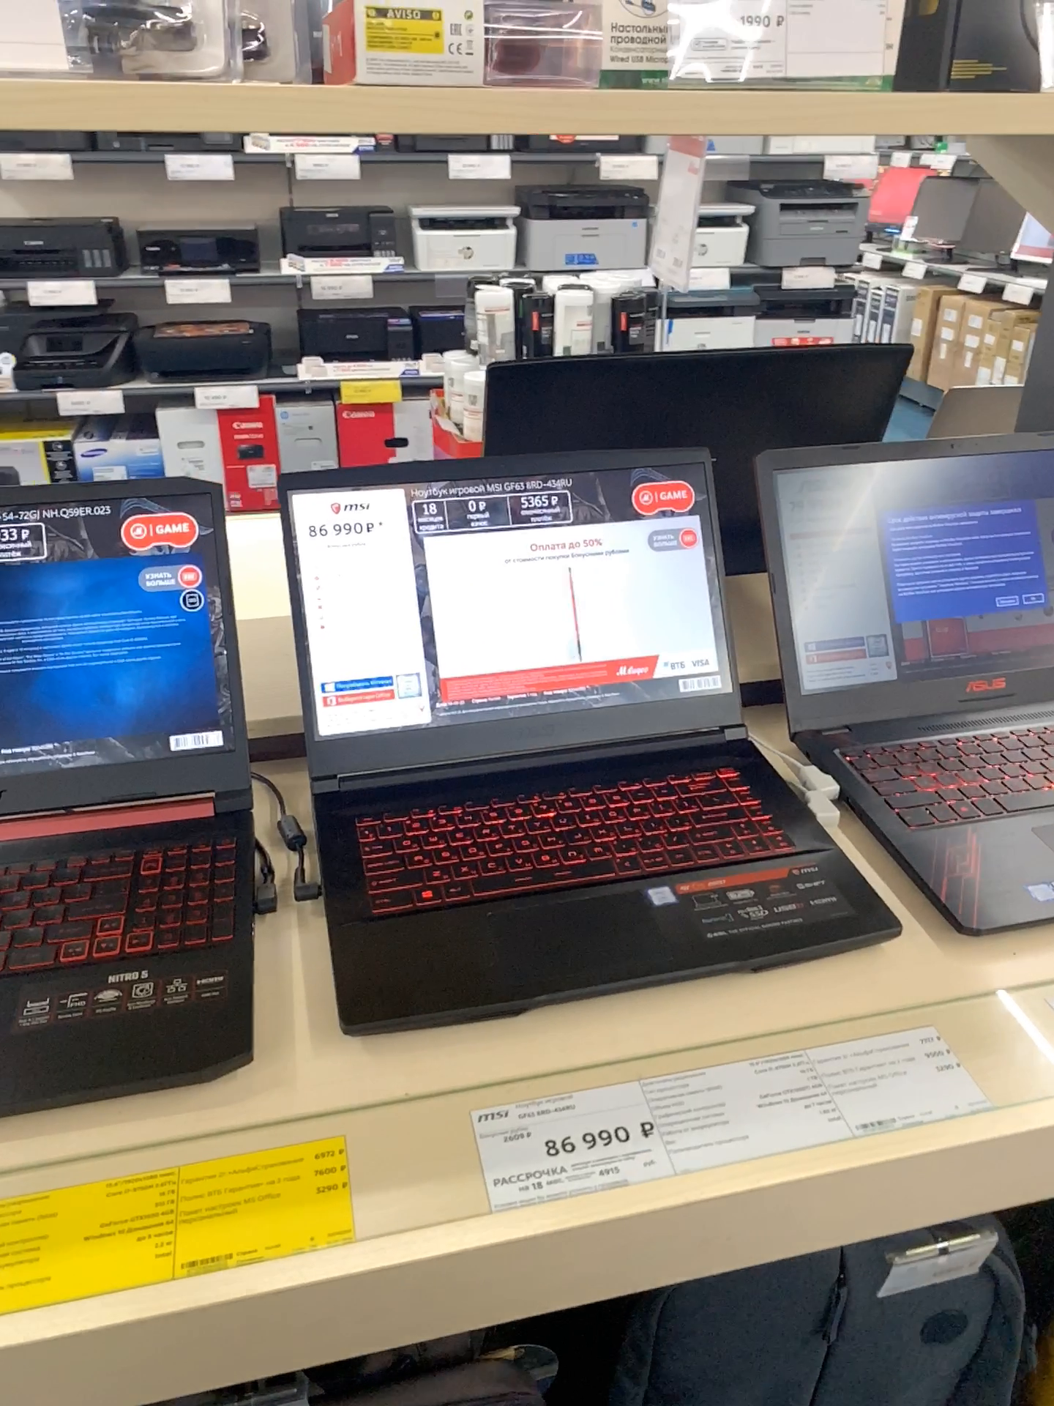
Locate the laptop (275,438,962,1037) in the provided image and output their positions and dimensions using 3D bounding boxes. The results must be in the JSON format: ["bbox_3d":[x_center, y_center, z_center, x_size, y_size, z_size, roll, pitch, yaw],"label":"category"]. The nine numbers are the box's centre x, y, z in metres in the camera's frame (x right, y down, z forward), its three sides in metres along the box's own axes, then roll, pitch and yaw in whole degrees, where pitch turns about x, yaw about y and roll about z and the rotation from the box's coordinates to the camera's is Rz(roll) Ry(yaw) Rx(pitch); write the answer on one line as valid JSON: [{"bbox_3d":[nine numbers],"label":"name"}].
[{"bbox_3d":[0.023,-0.018,0.748,0.350,0.204,0.372,-7,31,-13],"label":"laptop"}]

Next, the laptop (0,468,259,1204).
[{"bbox_3d":[-0.348,0.029,0.646,0.334,0.211,0.373,-6,29,-11],"label":"laptop"}]
